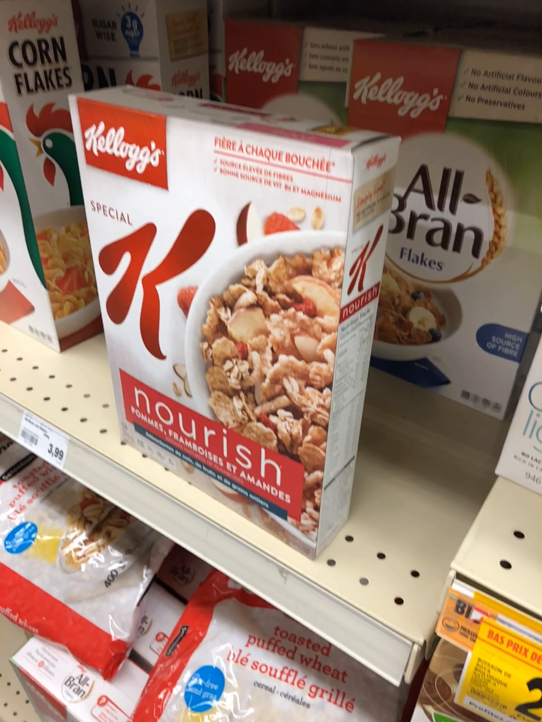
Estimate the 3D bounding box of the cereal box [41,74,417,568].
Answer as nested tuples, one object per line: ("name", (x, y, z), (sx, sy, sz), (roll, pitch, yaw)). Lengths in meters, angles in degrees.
("cereal box", (-0.034, -0.027, 0.369), (0.201, 0.248, 0.060), (24, 39, 31))
